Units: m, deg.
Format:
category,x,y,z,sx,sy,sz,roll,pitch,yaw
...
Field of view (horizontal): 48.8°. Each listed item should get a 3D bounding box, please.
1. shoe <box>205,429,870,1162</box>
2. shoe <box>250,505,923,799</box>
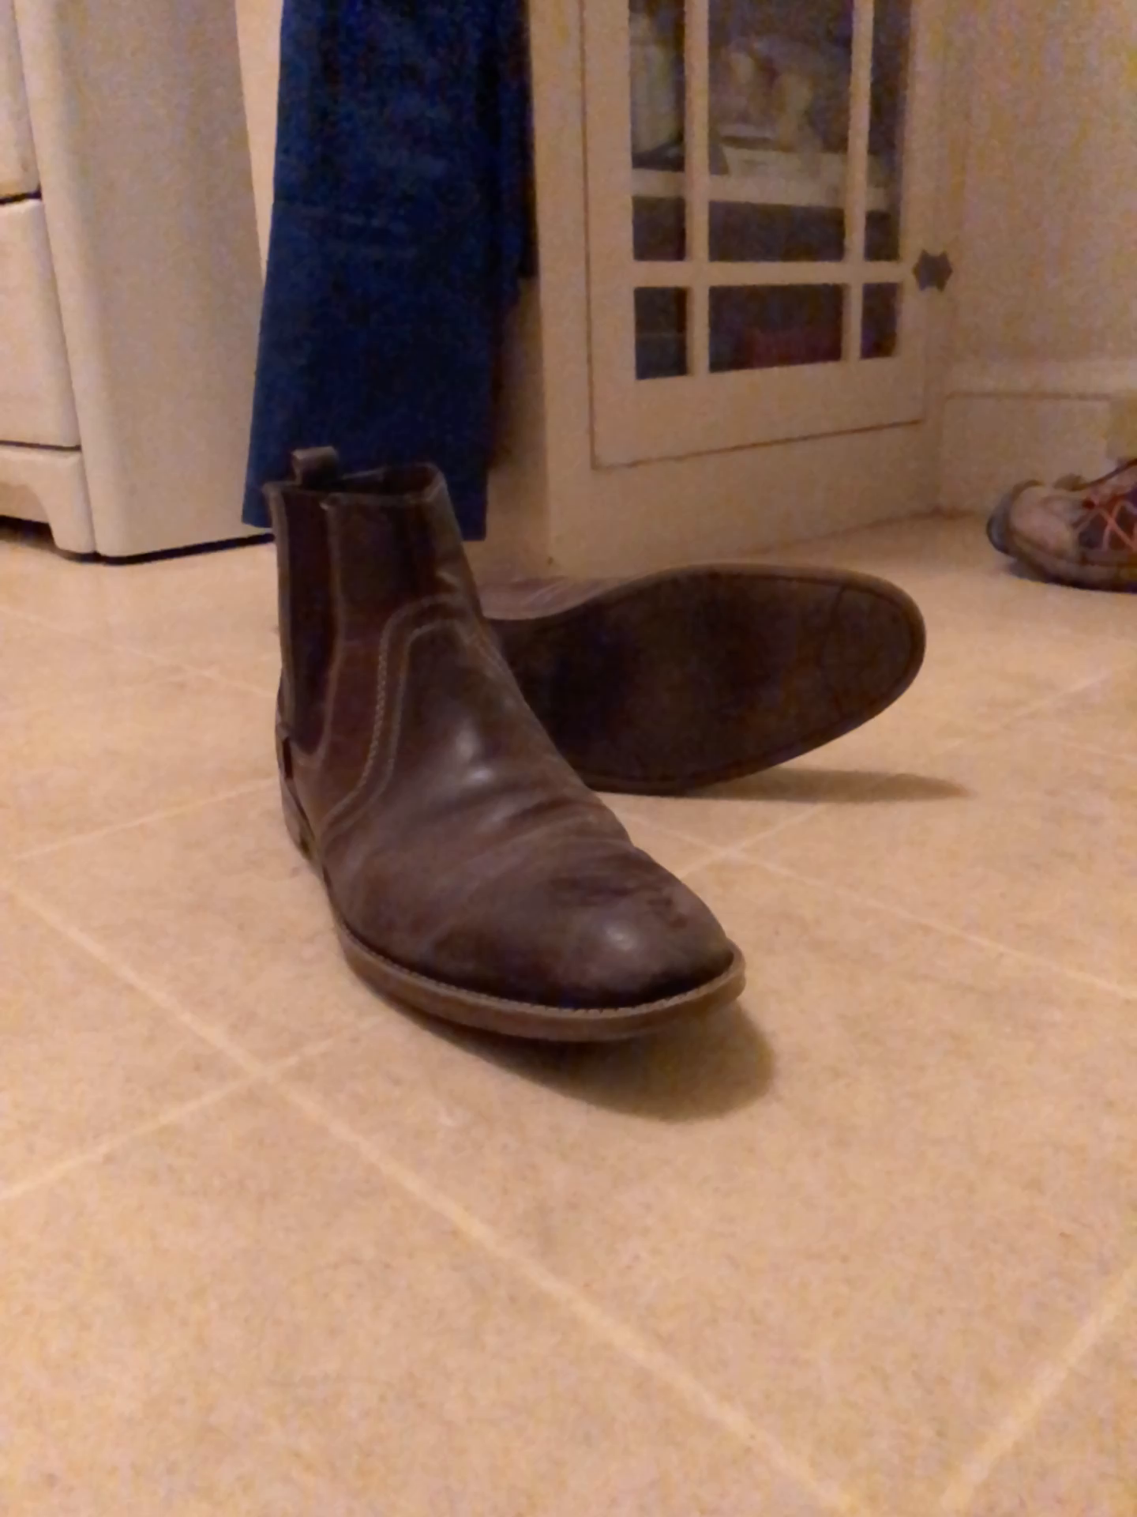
category,x,y,z,sx,sy,sz,roll,pitch,yaw
shoe,-0.039,-0.025,0.456,0.111,0.160,0.314,-10,20,-23
shoe,0.019,-0.067,0.658,0.313,0.111,0.162,3,17,14
